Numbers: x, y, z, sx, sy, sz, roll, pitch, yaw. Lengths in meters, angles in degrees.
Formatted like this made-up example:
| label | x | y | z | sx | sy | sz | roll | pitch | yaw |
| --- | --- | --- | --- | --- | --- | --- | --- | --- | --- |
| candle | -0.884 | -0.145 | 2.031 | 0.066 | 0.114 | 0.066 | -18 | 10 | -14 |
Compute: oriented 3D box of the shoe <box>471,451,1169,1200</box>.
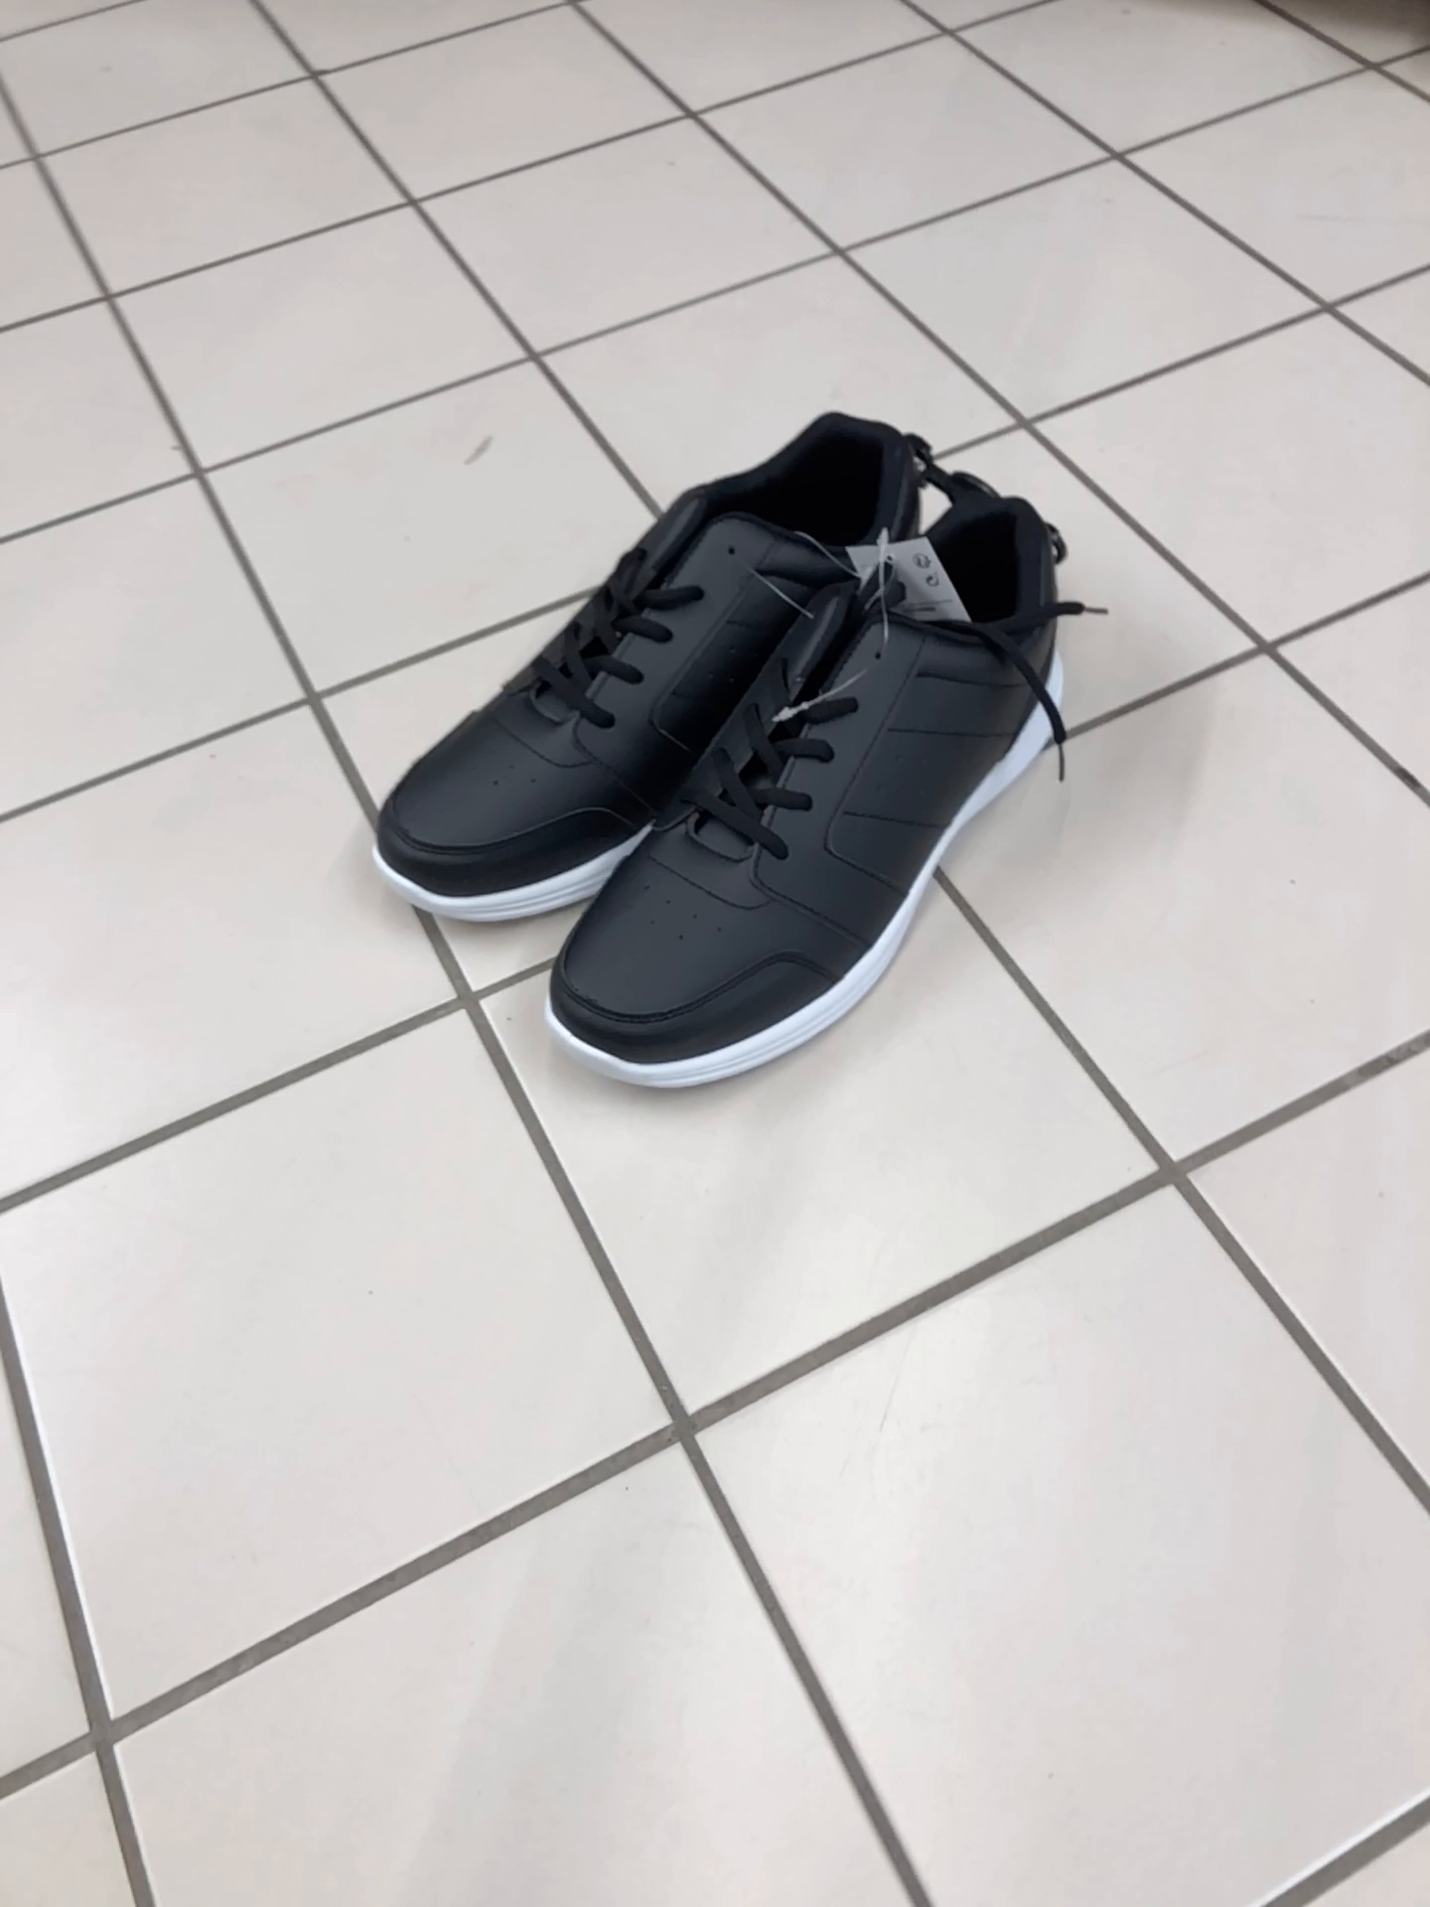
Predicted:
| label | x | y | z | sx | sy | sz | roll | pitch | yaw |
| --- | --- | --- | --- | --- | --- | --- | --- | --- | --- |
| shoe | 0.052 | -0.061 | 0.642 | 0.110 | 0.119 | 0.291 | 32 | 62 | 25 |

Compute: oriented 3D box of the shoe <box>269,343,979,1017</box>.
| label | x | y | z | sx | sy | sz | roll | pitch | yaw |
| --- | --- | --- | --- | --- | --- | --- | --- | --- | --- |
| shoe | -0.026 | -0.126 | 0.683 | 0.291 | 0.119 | 0.110 | -40 | 60 | -23 |
